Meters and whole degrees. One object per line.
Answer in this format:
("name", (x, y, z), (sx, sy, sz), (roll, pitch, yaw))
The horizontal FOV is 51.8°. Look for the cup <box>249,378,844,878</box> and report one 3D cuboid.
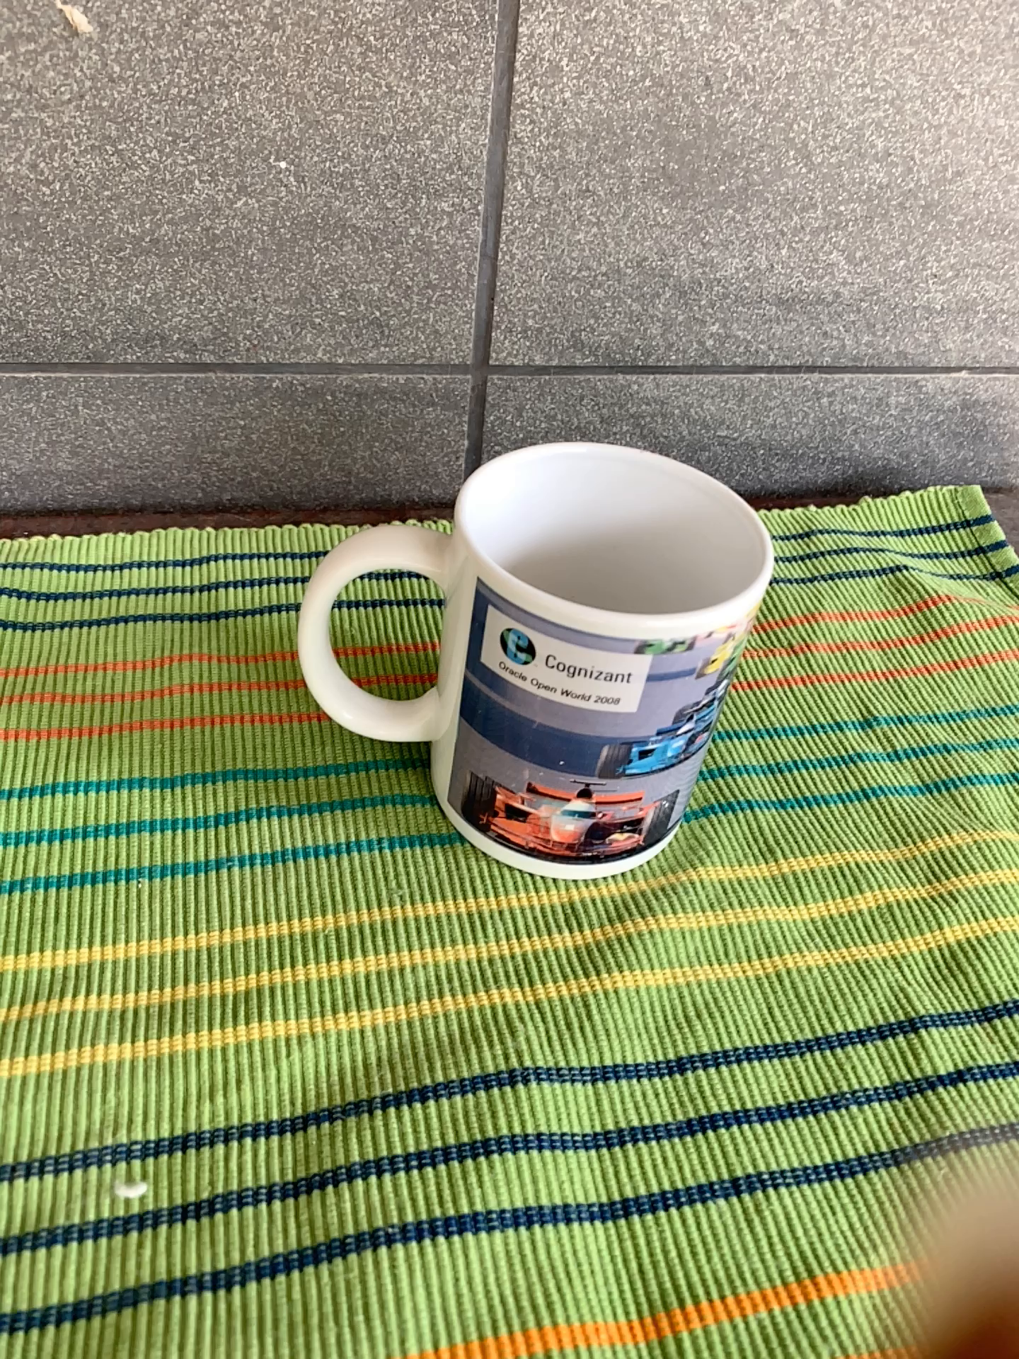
("cup", (0.001, -0.012, 0.288), (0.130, 0.100, 0.080), (4, 40, -8))
